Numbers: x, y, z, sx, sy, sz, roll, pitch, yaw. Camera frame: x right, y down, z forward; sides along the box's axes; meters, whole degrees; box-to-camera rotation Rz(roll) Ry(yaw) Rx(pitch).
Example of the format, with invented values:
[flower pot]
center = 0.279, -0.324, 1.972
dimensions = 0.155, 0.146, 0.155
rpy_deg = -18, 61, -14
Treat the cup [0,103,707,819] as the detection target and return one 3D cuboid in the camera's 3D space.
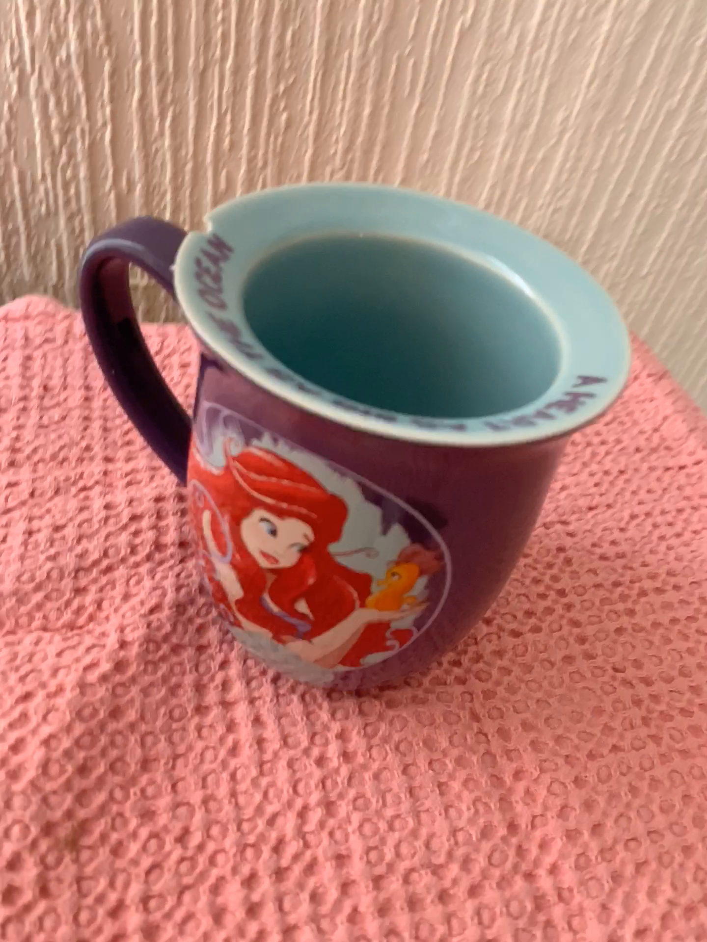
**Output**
[cup]
center = -0.007, -0.011, 0.191
dimensions = 0.140, 0.099, 0.101
rpy_deg = 27, 45, 13
